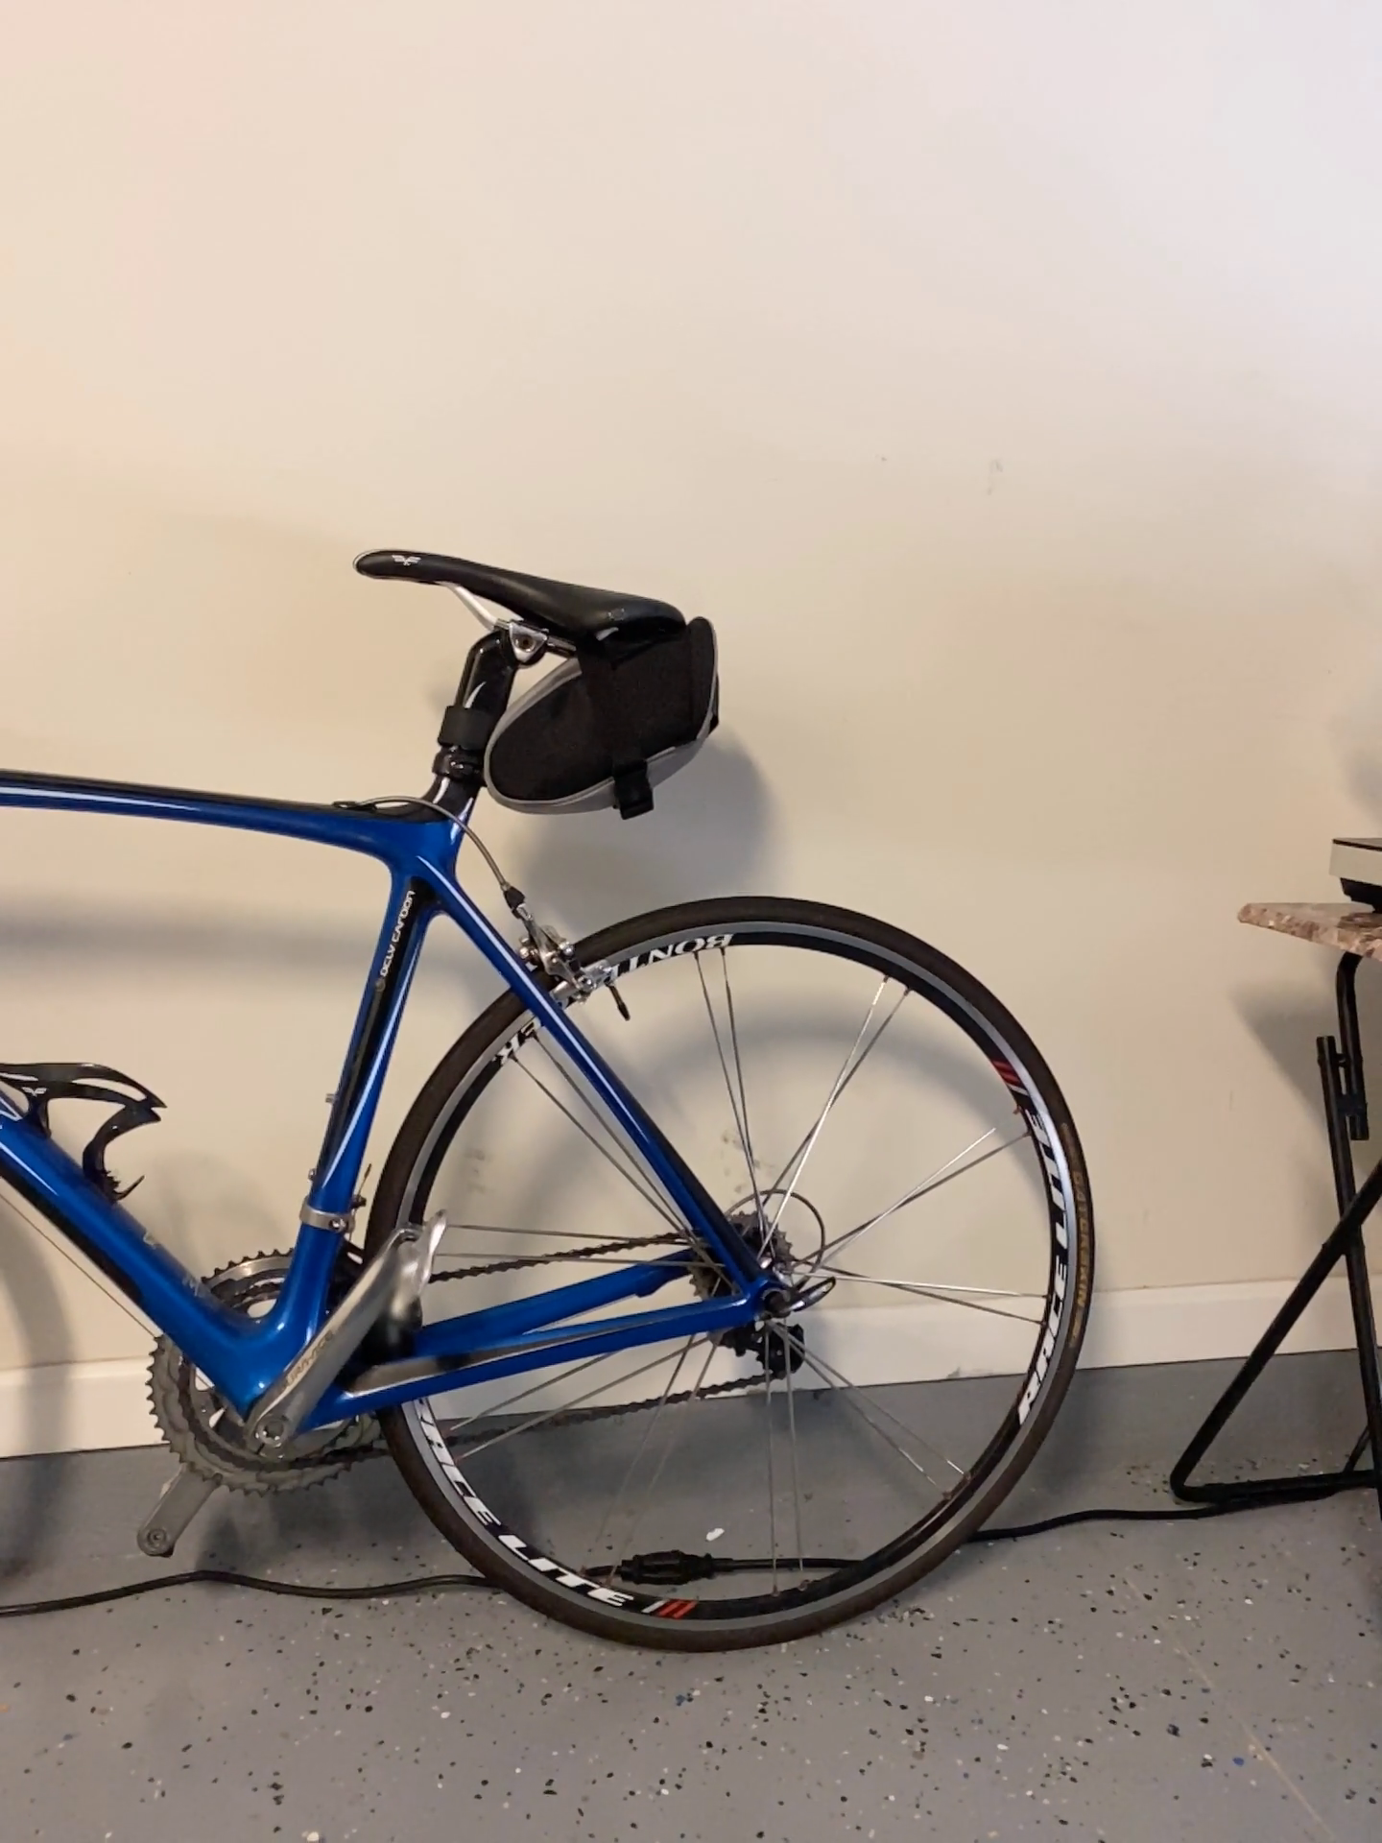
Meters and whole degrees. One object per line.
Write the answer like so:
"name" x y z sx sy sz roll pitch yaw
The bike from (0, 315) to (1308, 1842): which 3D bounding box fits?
"bike" -0.321 0.245 1.066 1.639 0.883 0.401 2 8 -24
